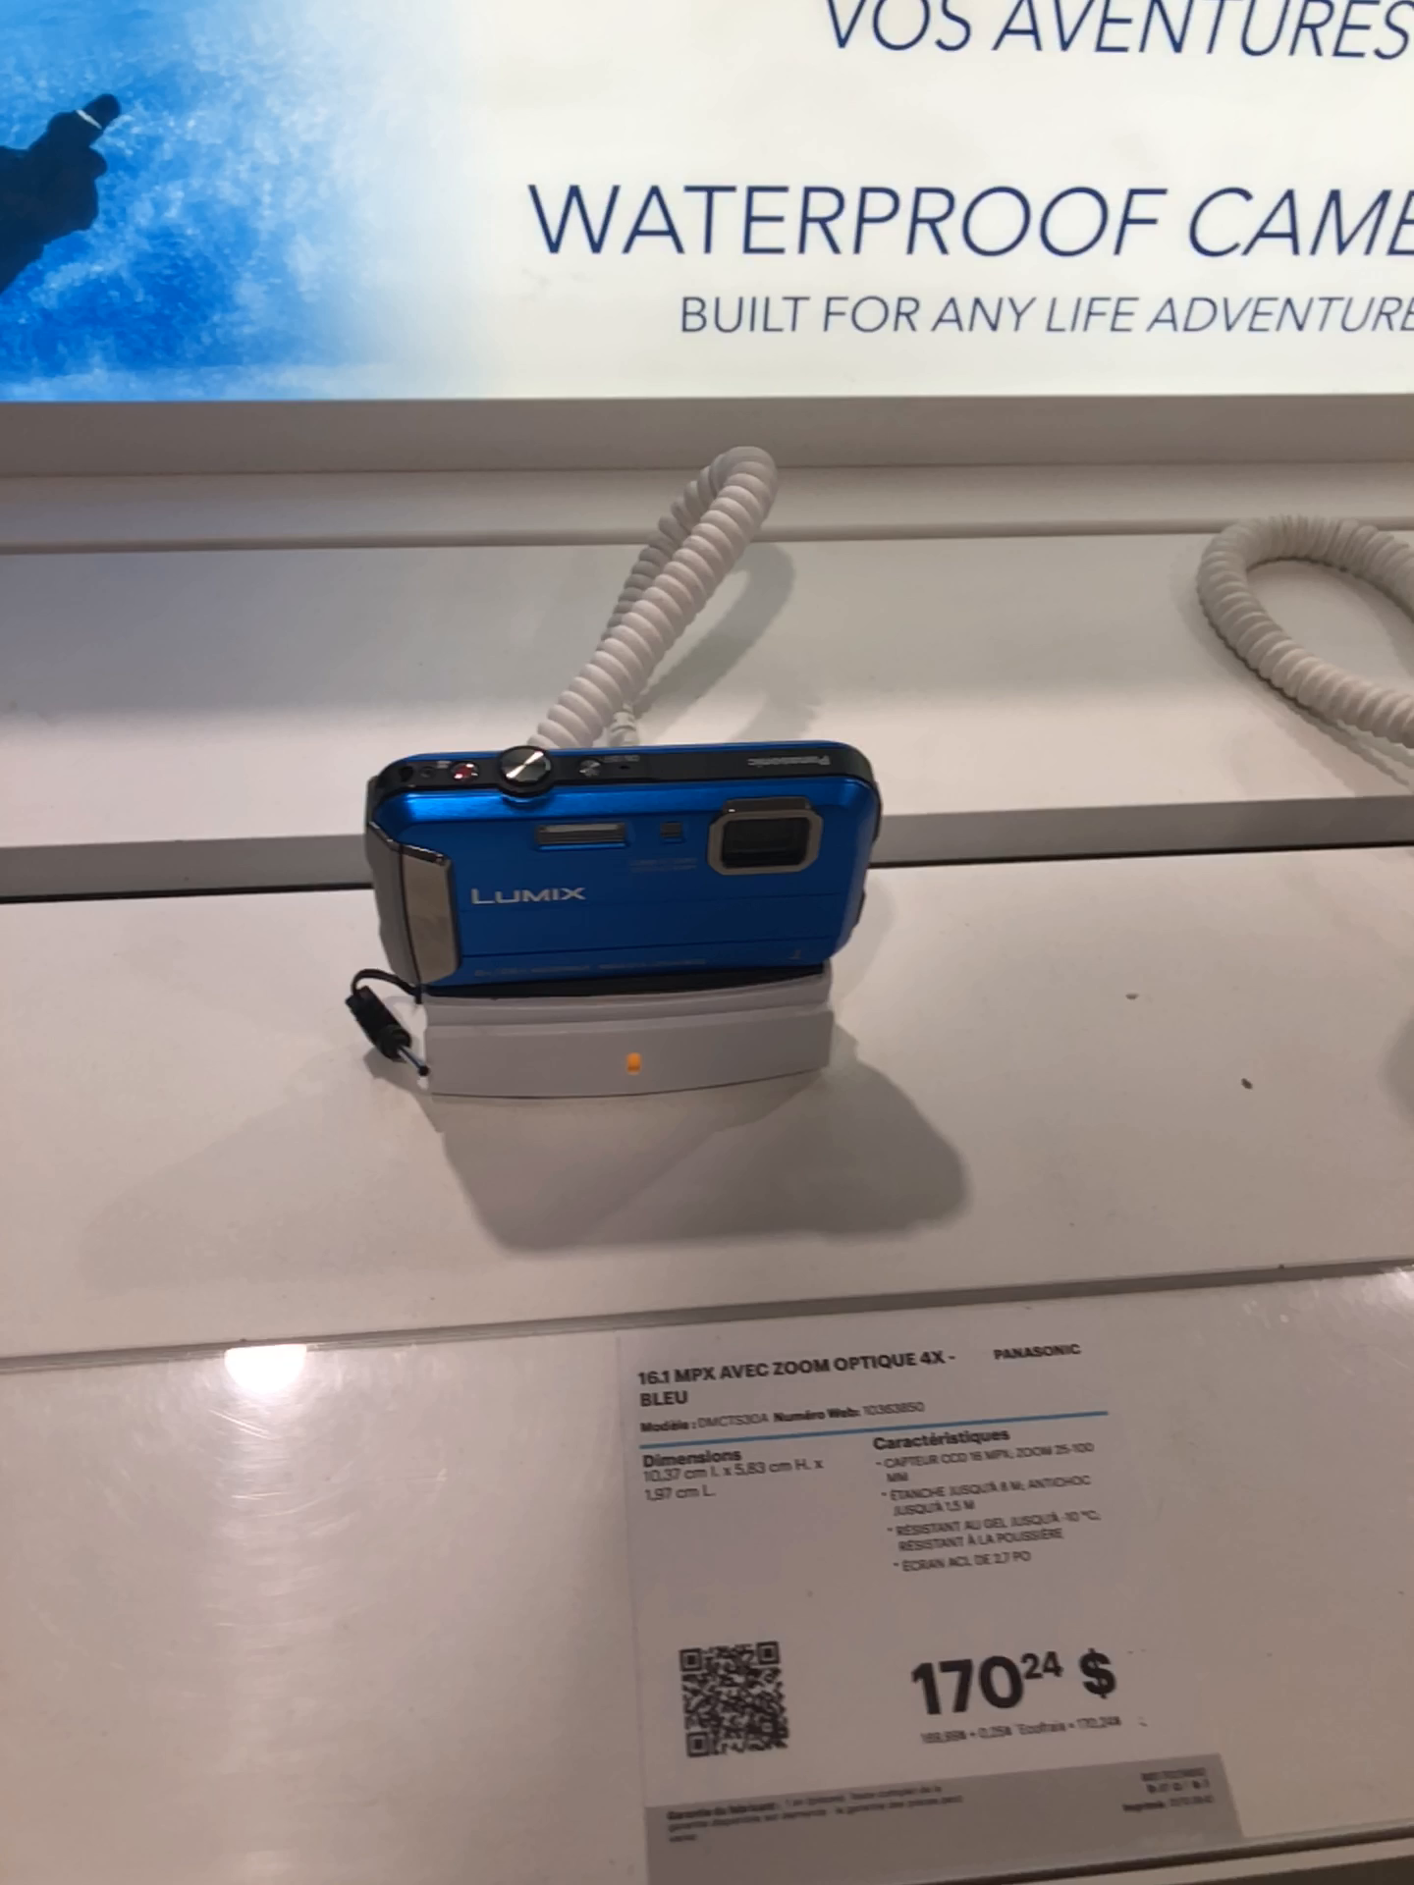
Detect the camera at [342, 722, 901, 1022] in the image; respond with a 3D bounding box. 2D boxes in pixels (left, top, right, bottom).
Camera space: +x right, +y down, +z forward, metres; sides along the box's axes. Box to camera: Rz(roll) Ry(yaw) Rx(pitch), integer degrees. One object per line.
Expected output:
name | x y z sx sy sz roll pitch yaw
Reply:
camera | -0.018 -0.014 0.325 0.106 0.060 0.020 -3 48 -6
